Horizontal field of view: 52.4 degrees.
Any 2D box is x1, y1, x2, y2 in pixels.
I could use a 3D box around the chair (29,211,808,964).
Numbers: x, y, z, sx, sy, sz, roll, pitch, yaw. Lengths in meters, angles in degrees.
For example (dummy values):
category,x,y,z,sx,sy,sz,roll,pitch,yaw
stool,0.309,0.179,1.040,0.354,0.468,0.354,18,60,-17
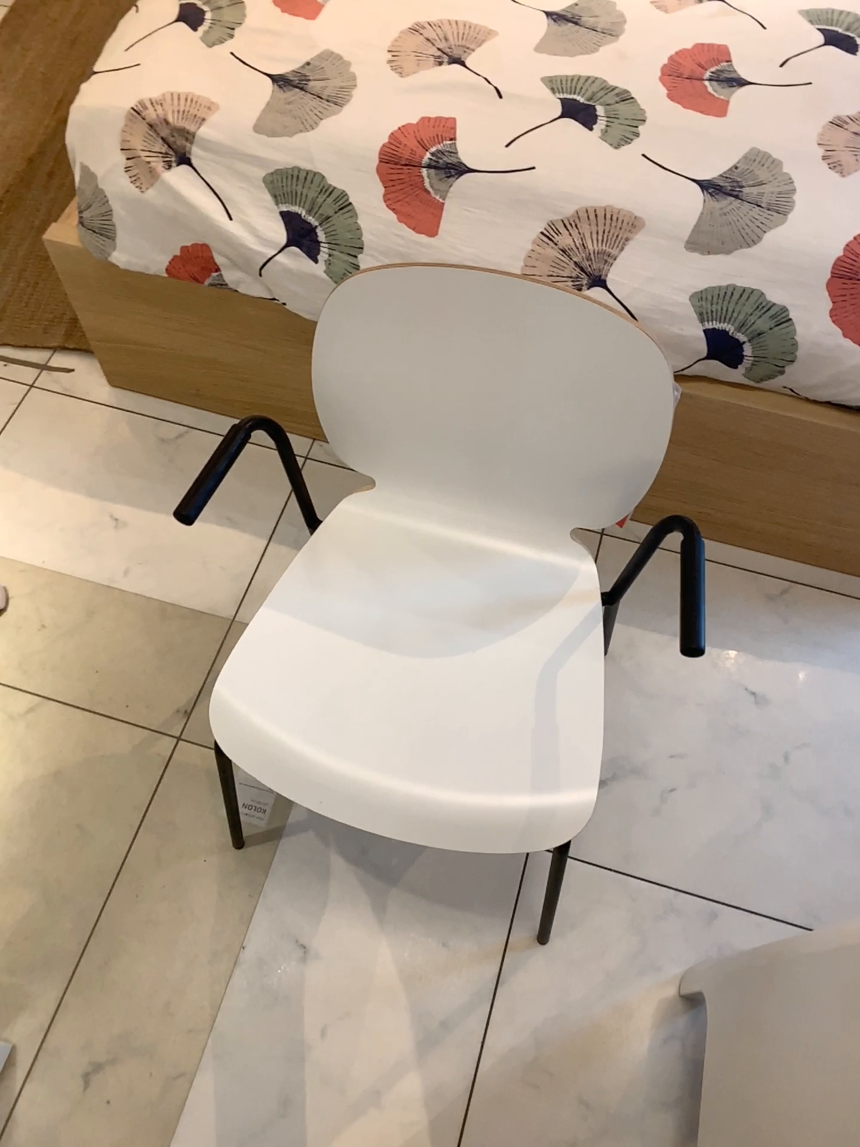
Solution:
category,x,y,z,sx,sy,sz,roll,pitch,yaw
chair,0.026,0.080,1.070,0.550,0.699,0.541,15,62,7
